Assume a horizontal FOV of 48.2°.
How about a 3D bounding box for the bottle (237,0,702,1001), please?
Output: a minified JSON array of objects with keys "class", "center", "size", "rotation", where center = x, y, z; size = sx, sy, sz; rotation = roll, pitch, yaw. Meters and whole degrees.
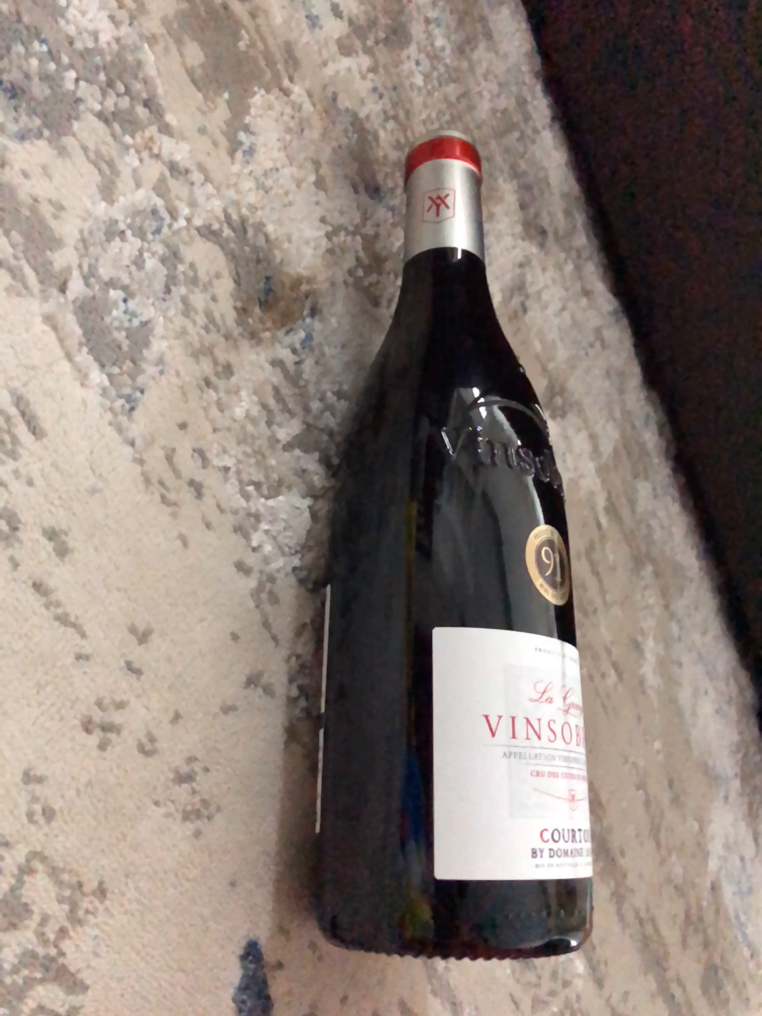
[{"class":"bottle","center":[0.030,-0.013,0.294],"size":[0.091,0.099,0.300],"rotation":[27,58,-49]}]
